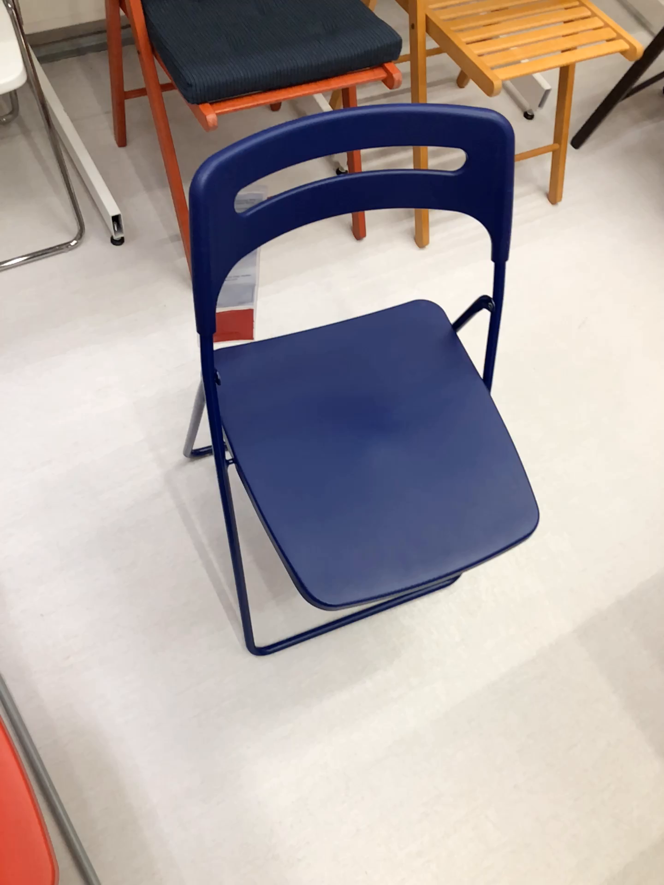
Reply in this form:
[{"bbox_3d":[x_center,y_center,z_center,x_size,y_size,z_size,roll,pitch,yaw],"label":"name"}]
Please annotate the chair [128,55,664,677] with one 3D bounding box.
[{"bbox_3d":[0.040,-0.045,1.044,0.461,0.697,0.501,-17,68,-17],"label":"chair"}]
